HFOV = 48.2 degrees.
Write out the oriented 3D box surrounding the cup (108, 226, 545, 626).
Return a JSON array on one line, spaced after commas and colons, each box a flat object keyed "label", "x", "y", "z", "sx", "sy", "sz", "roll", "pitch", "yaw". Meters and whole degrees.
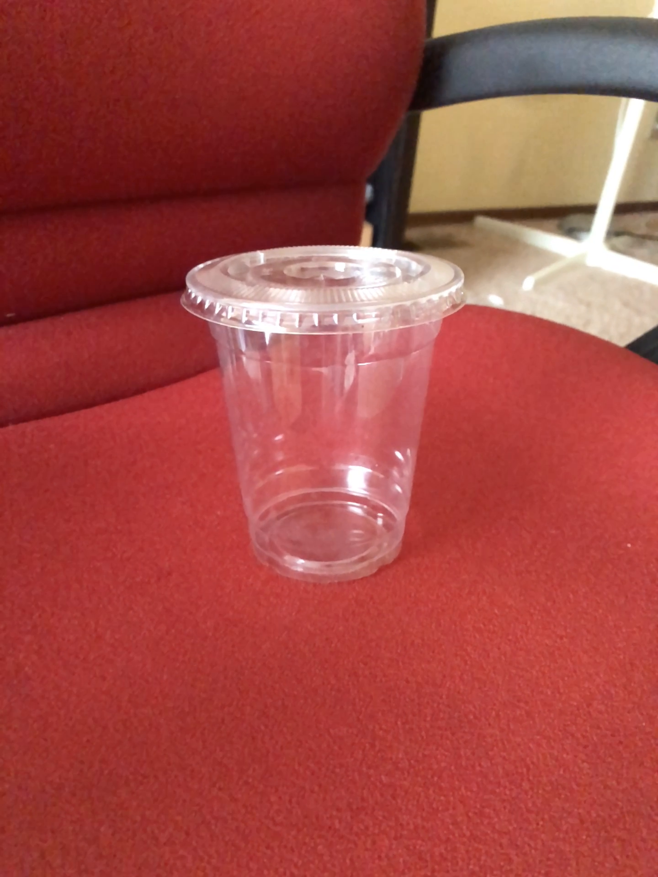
[{"label": "cup", "x": -0.003, "y": -0.017, "z": 0.253, "sx": 0.100, "sy": 0.090, "sz": 0.100, "roll": 0, "pitch": 24, "yaw": 0}]
